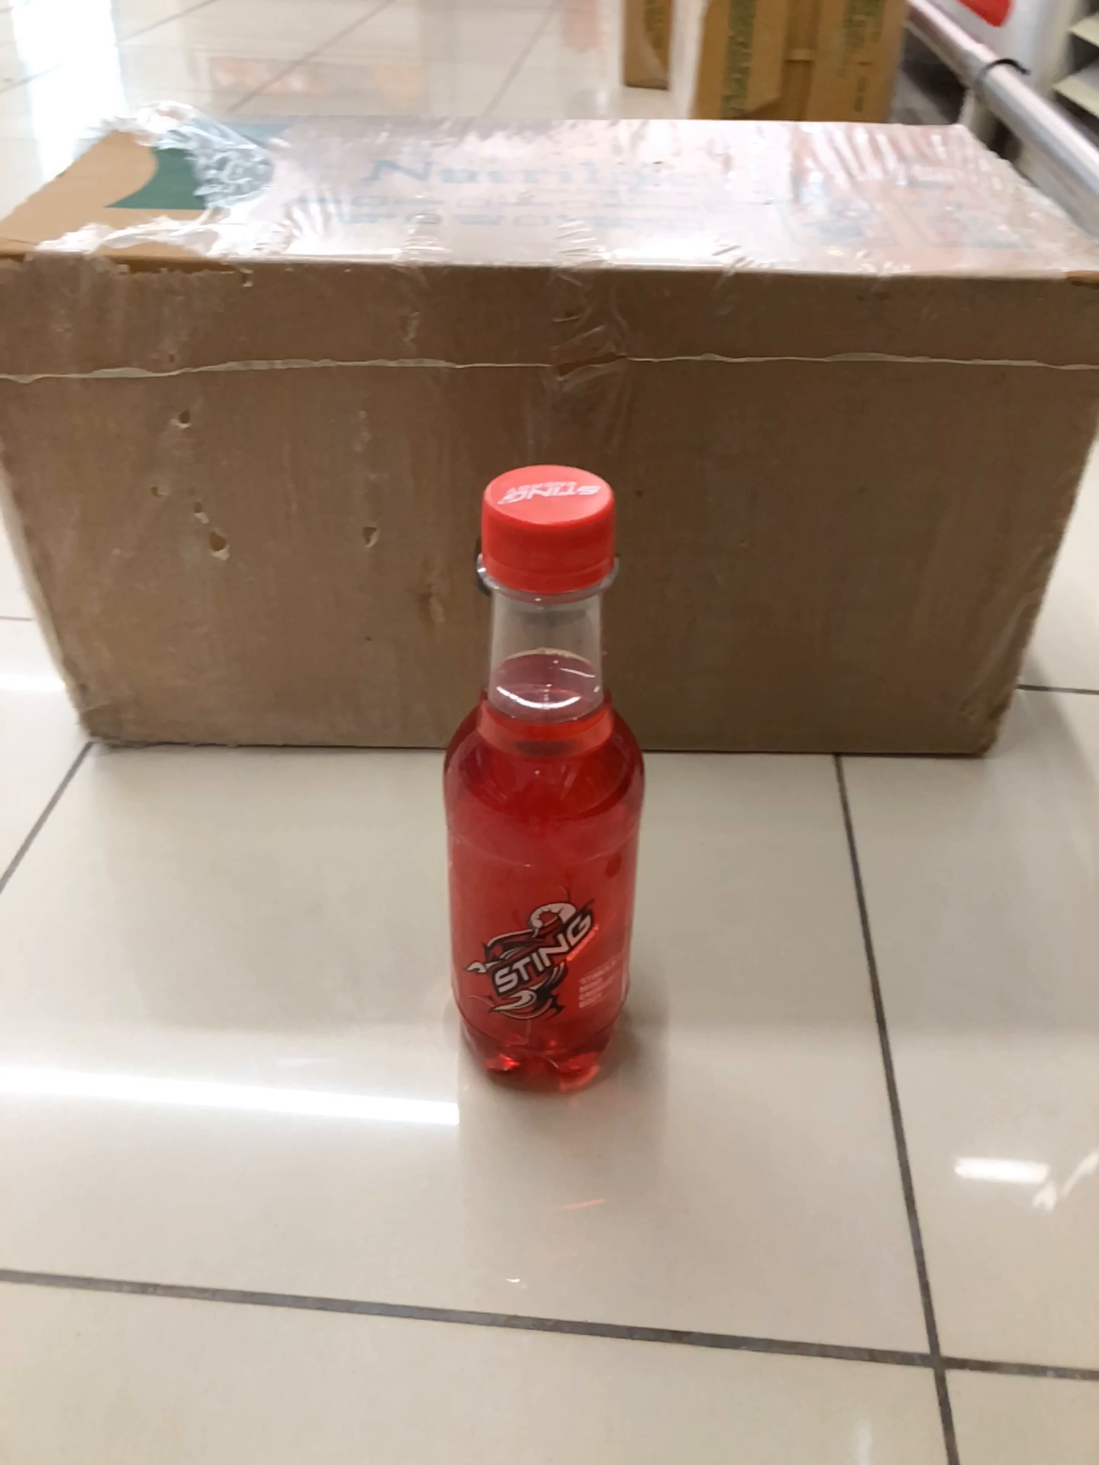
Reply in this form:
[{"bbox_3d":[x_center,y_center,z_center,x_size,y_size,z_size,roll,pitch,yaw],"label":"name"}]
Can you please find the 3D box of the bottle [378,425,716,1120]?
[{"bbox_3d":[0.001,0.017,0.331,0.070,0.179,0.070,1,36,0],"label":"bottle"}]
